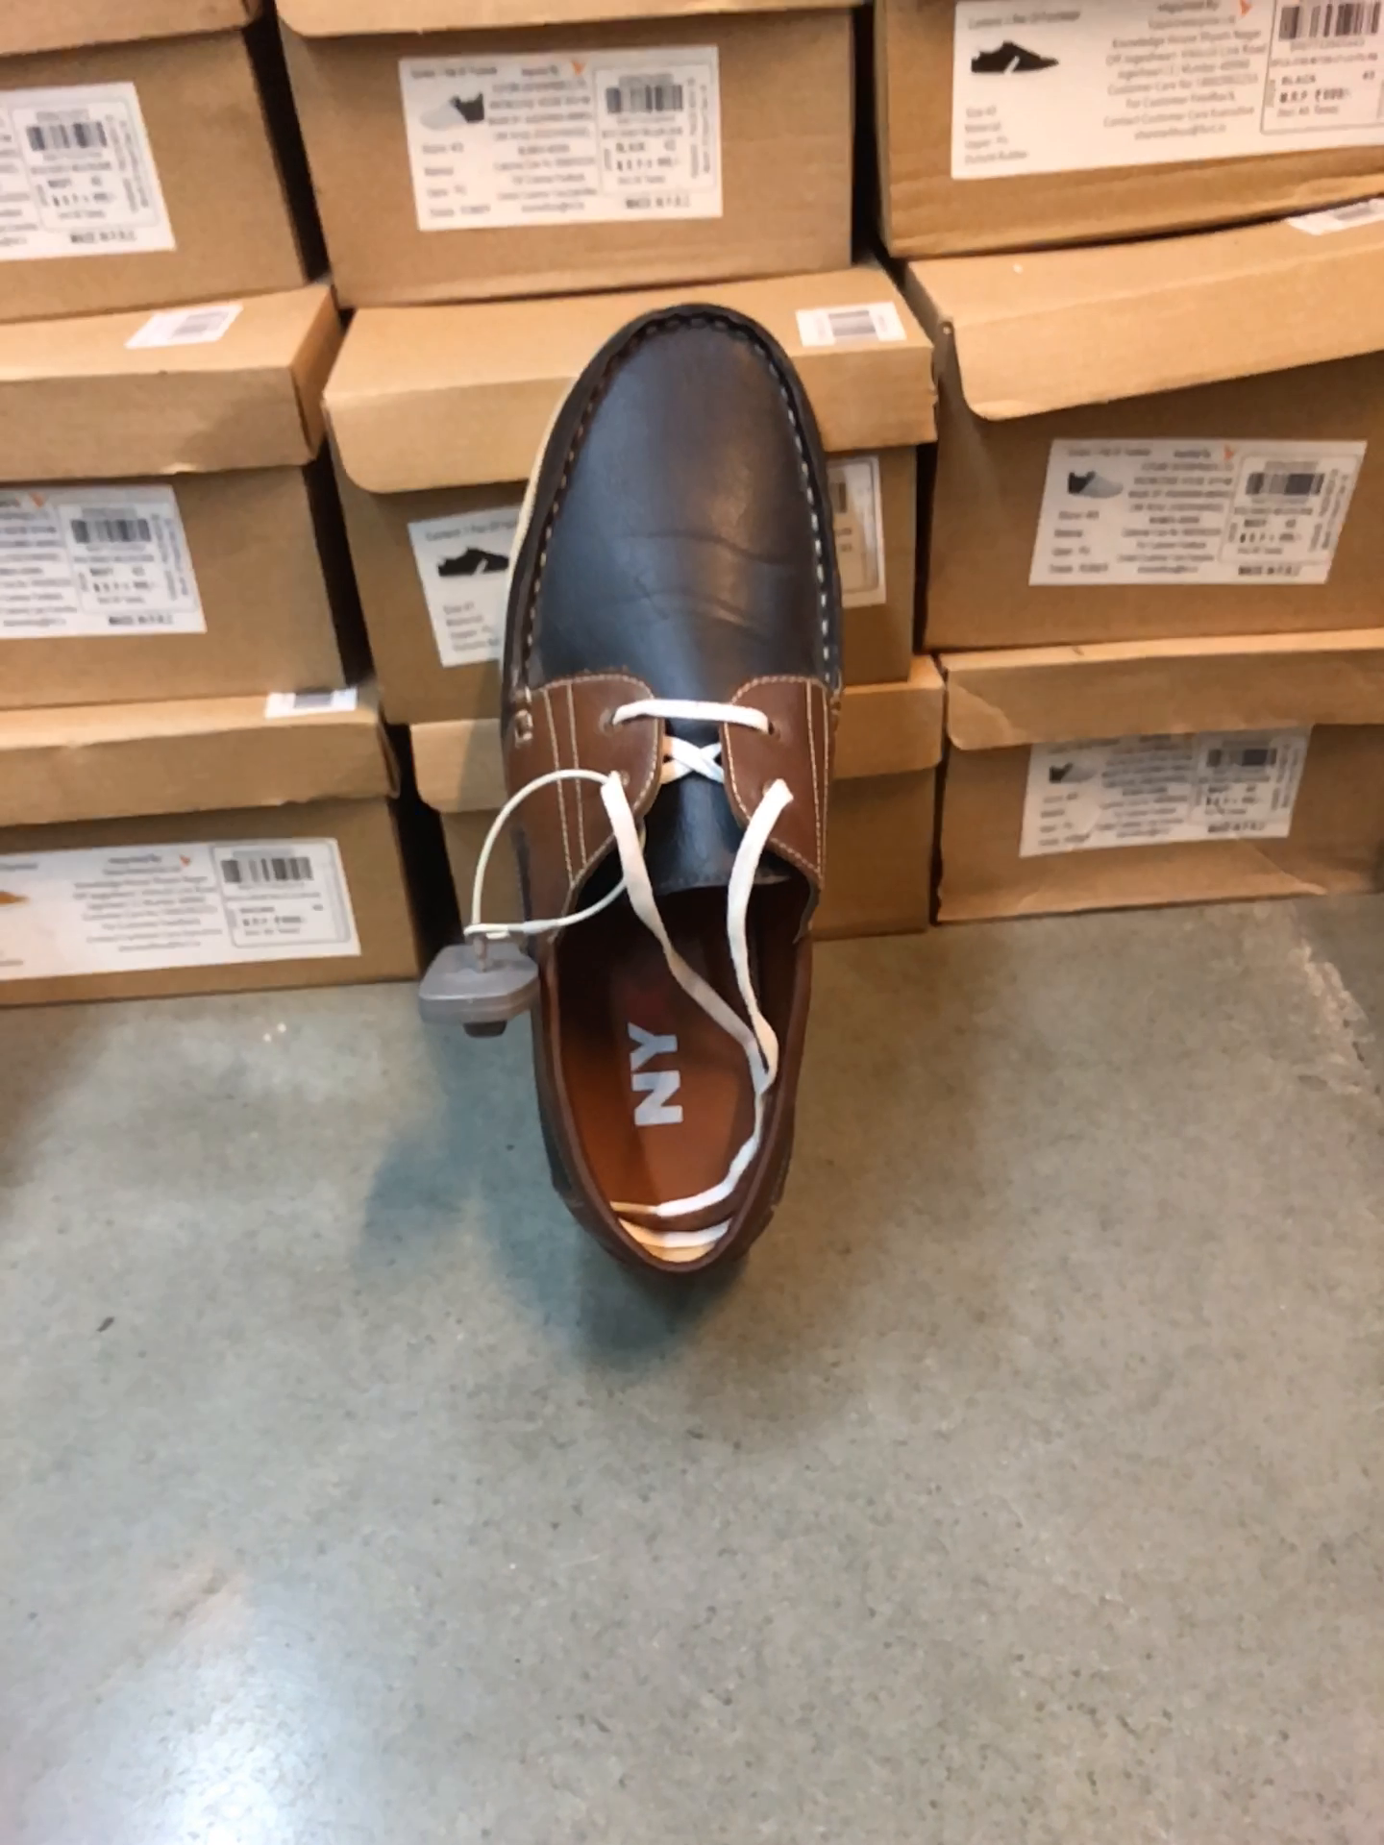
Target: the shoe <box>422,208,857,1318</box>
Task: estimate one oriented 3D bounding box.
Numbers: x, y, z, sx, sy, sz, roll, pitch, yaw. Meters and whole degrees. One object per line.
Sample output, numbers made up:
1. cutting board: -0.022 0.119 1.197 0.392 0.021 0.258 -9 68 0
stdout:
1. shoe: -0.010 -0.038 0.417 0.102 0.264 0.099 -1 1 3
